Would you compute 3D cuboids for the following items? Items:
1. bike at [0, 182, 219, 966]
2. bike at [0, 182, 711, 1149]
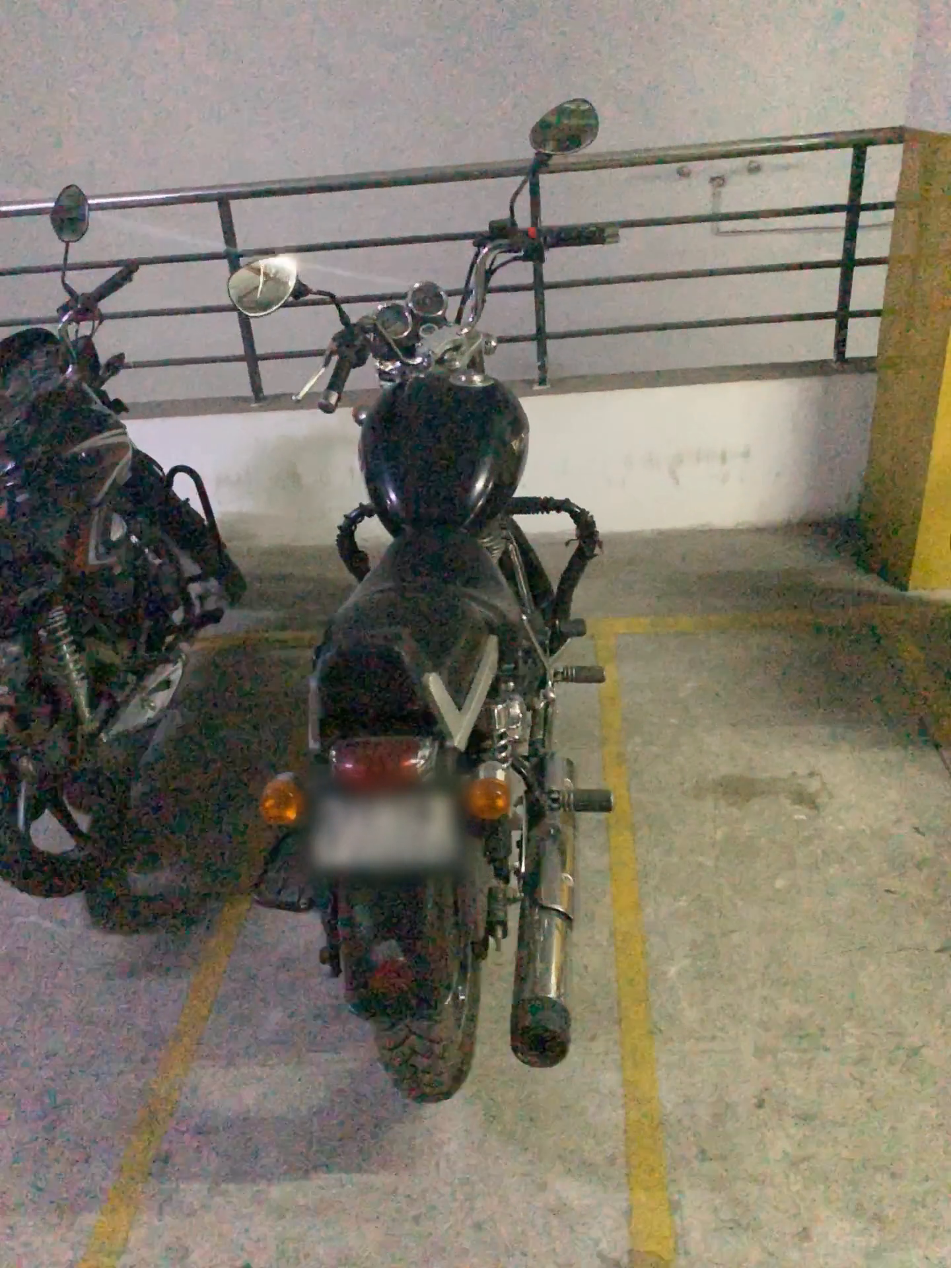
[{"bbox_3d":[-1.291,-0.291,2.552,0.719,1.277,1.572,-4,33,3],"label":"bike"},{"bbox_3d":[-0.207,-0.152,2.084,0.851,1.232,1.807,-5,31,0],"label":"bike"}]
